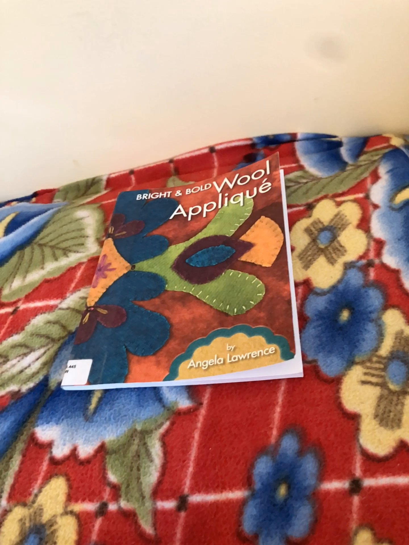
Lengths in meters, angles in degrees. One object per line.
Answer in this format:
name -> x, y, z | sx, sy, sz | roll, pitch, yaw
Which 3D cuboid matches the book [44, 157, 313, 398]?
book -> -0.020, -0.010, 0.451 | 0.220, 0.020, 0.264 | -8, 47, 13
